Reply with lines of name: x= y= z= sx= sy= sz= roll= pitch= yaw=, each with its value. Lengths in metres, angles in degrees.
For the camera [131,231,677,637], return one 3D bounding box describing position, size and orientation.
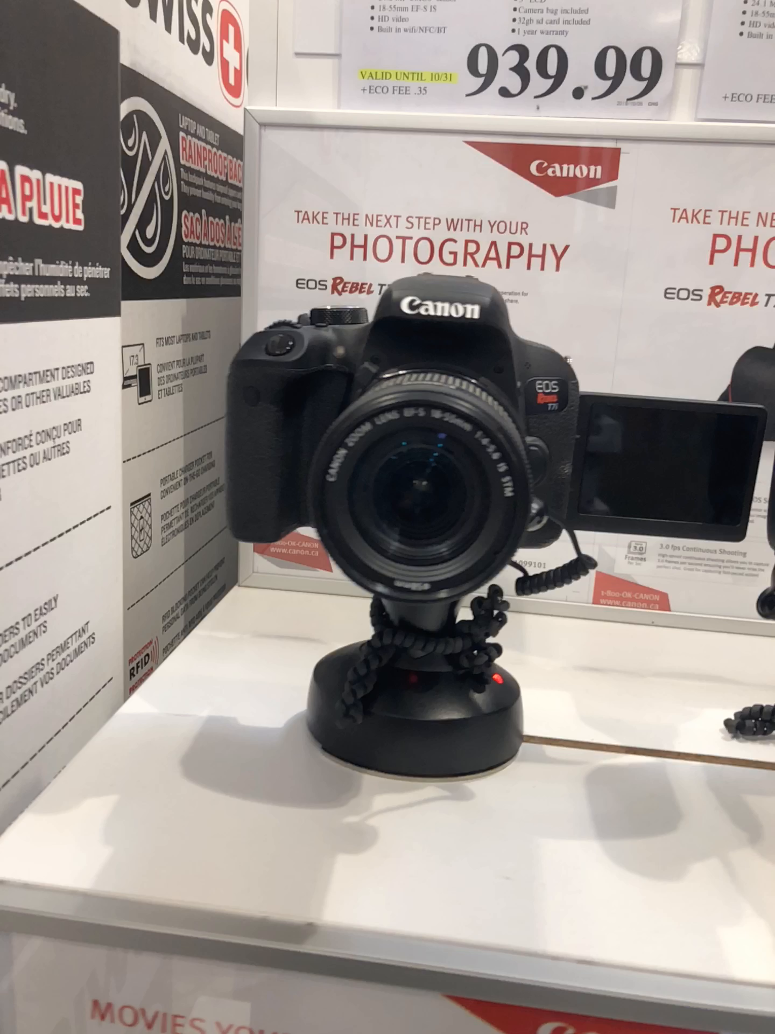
camera: x=0.007 y=-0.040 z=0.302 sx=0.140 sy=0.100 sz=0.151 roll=5 pitch=15 yaw=5
